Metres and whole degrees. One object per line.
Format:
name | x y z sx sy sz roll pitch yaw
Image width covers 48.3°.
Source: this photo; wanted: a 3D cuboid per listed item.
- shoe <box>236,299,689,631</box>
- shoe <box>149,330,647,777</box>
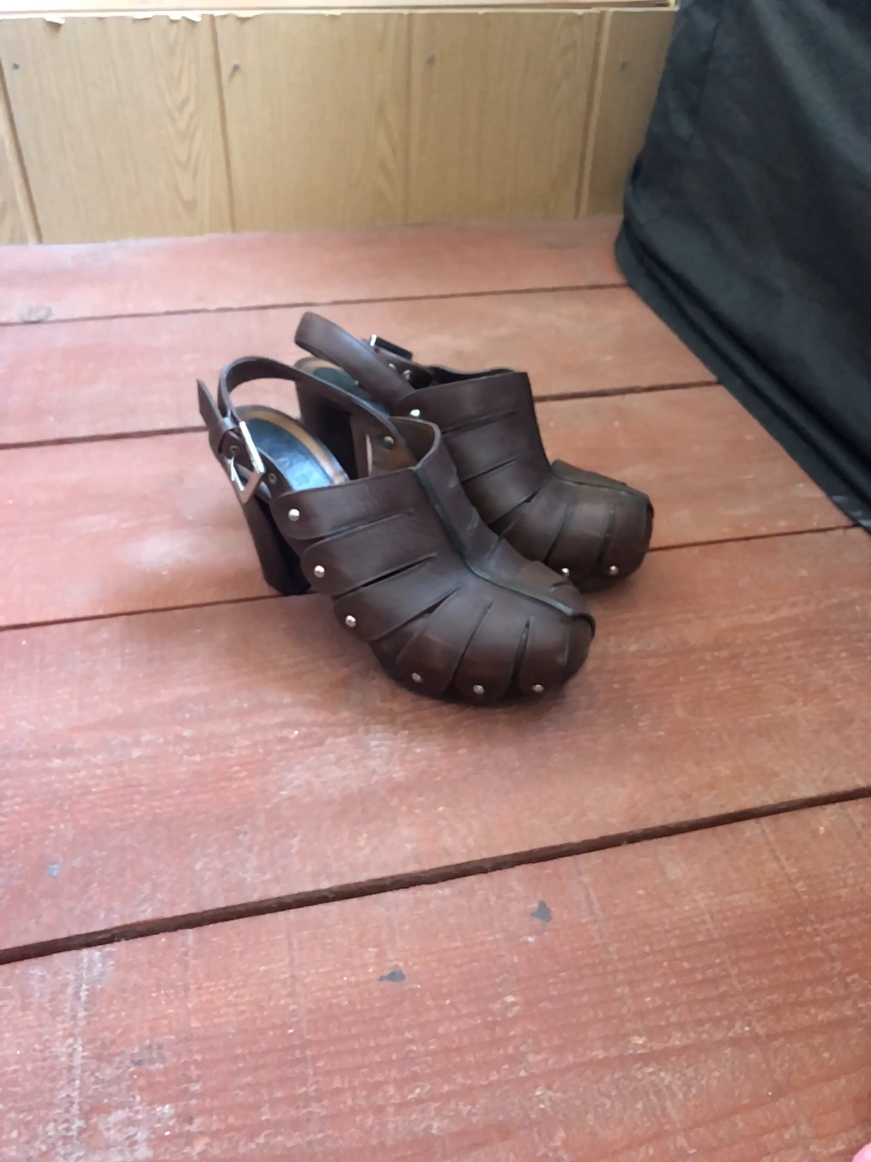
shoe | 0.013 -0.065 0.509 0.210 0.110 0.080 14 28 8
shoe | -0.023 -0.021 0.460 0.210 0.120 0.080 25 45 25
